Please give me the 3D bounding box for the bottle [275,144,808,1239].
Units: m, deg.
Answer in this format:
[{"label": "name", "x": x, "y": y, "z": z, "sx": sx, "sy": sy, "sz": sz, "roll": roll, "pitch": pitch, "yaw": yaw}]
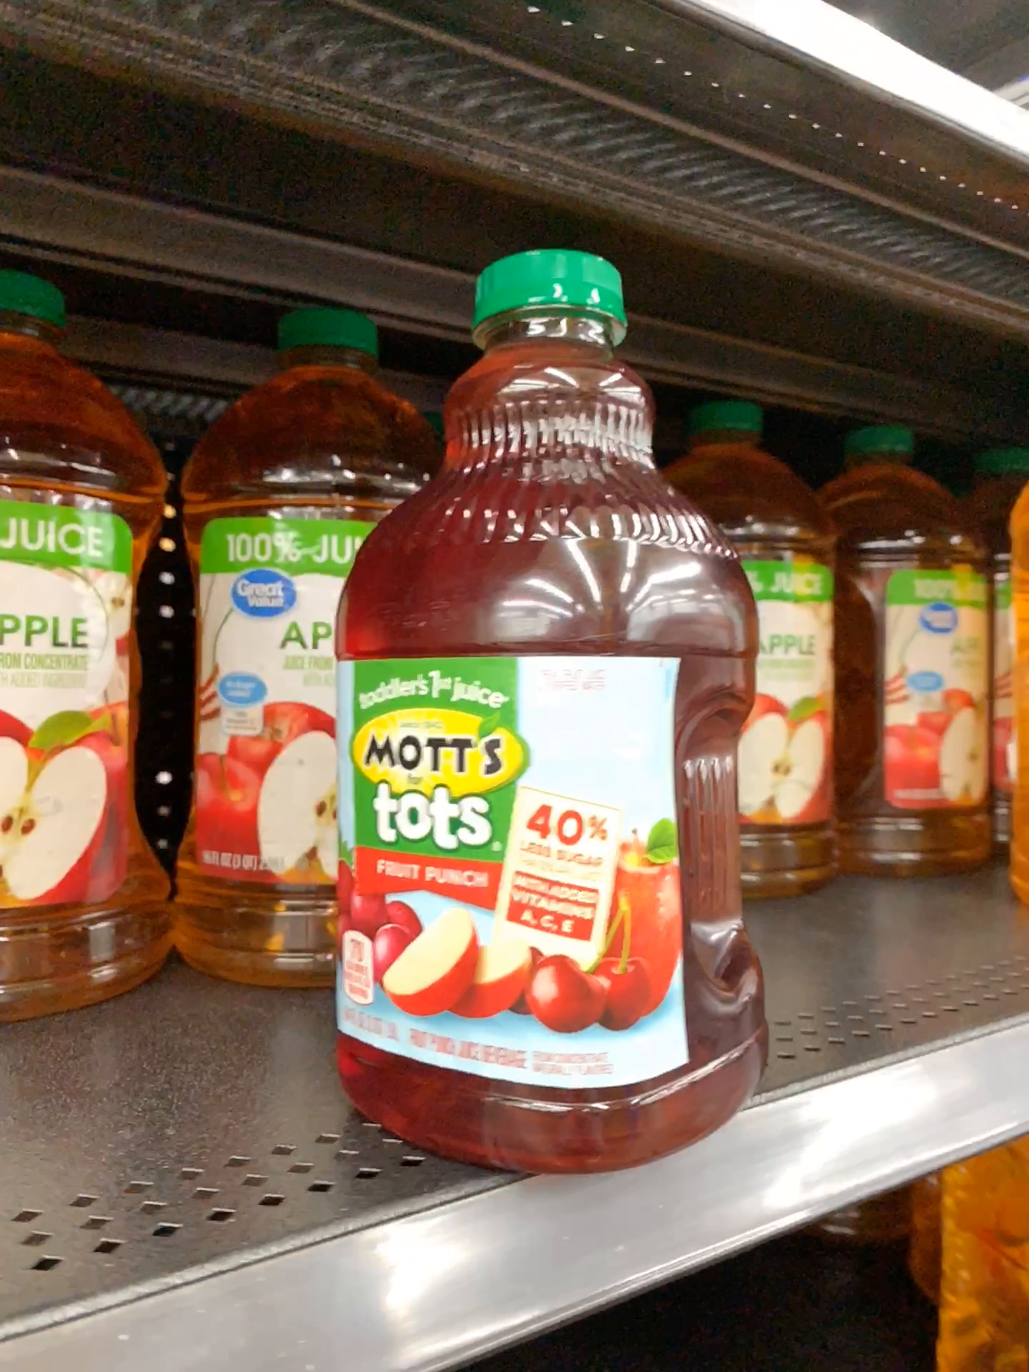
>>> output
[{"label": "bottle", "x": 0.013, "y": -0.001, "z": 0.320, "sx": 0.120, "sy": 0.250, "sz": 0.110, "roll": 1, "pitch": 1, "yaw": 0}]
